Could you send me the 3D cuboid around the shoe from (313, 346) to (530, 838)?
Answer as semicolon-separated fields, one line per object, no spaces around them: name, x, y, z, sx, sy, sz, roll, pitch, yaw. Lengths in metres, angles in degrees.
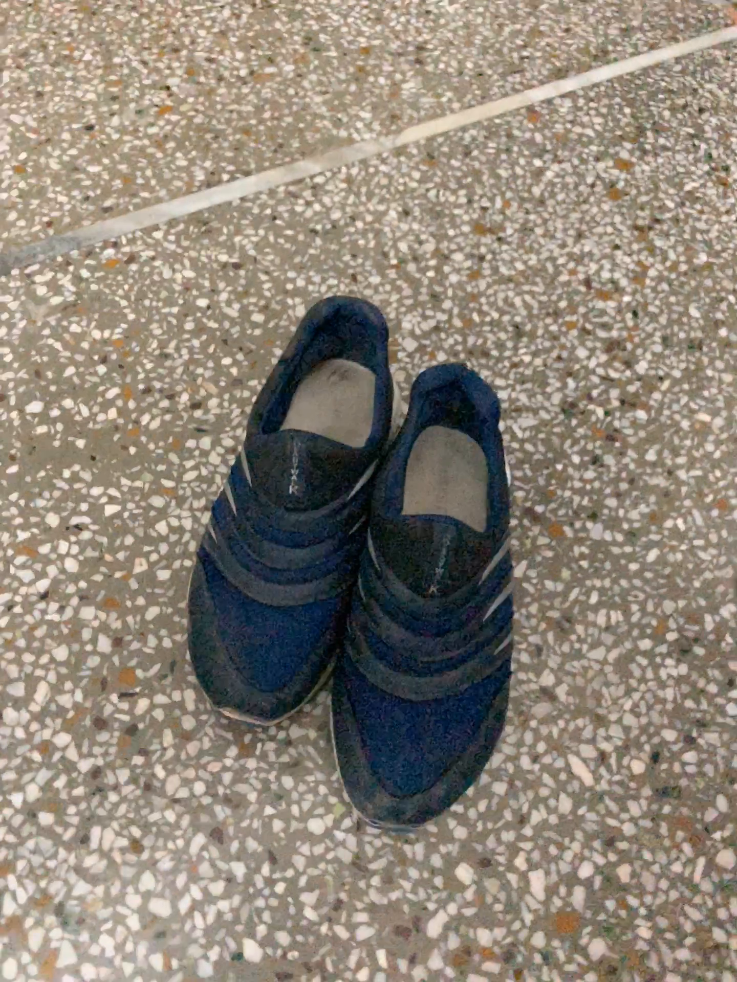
shoe;0.036;0.056;0.476;0.104;0.096;0.280;7;63;0

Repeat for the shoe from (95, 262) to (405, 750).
shoe;-0.058;-0.001;0.474;0.104;0.080;0.283;12;63;2
